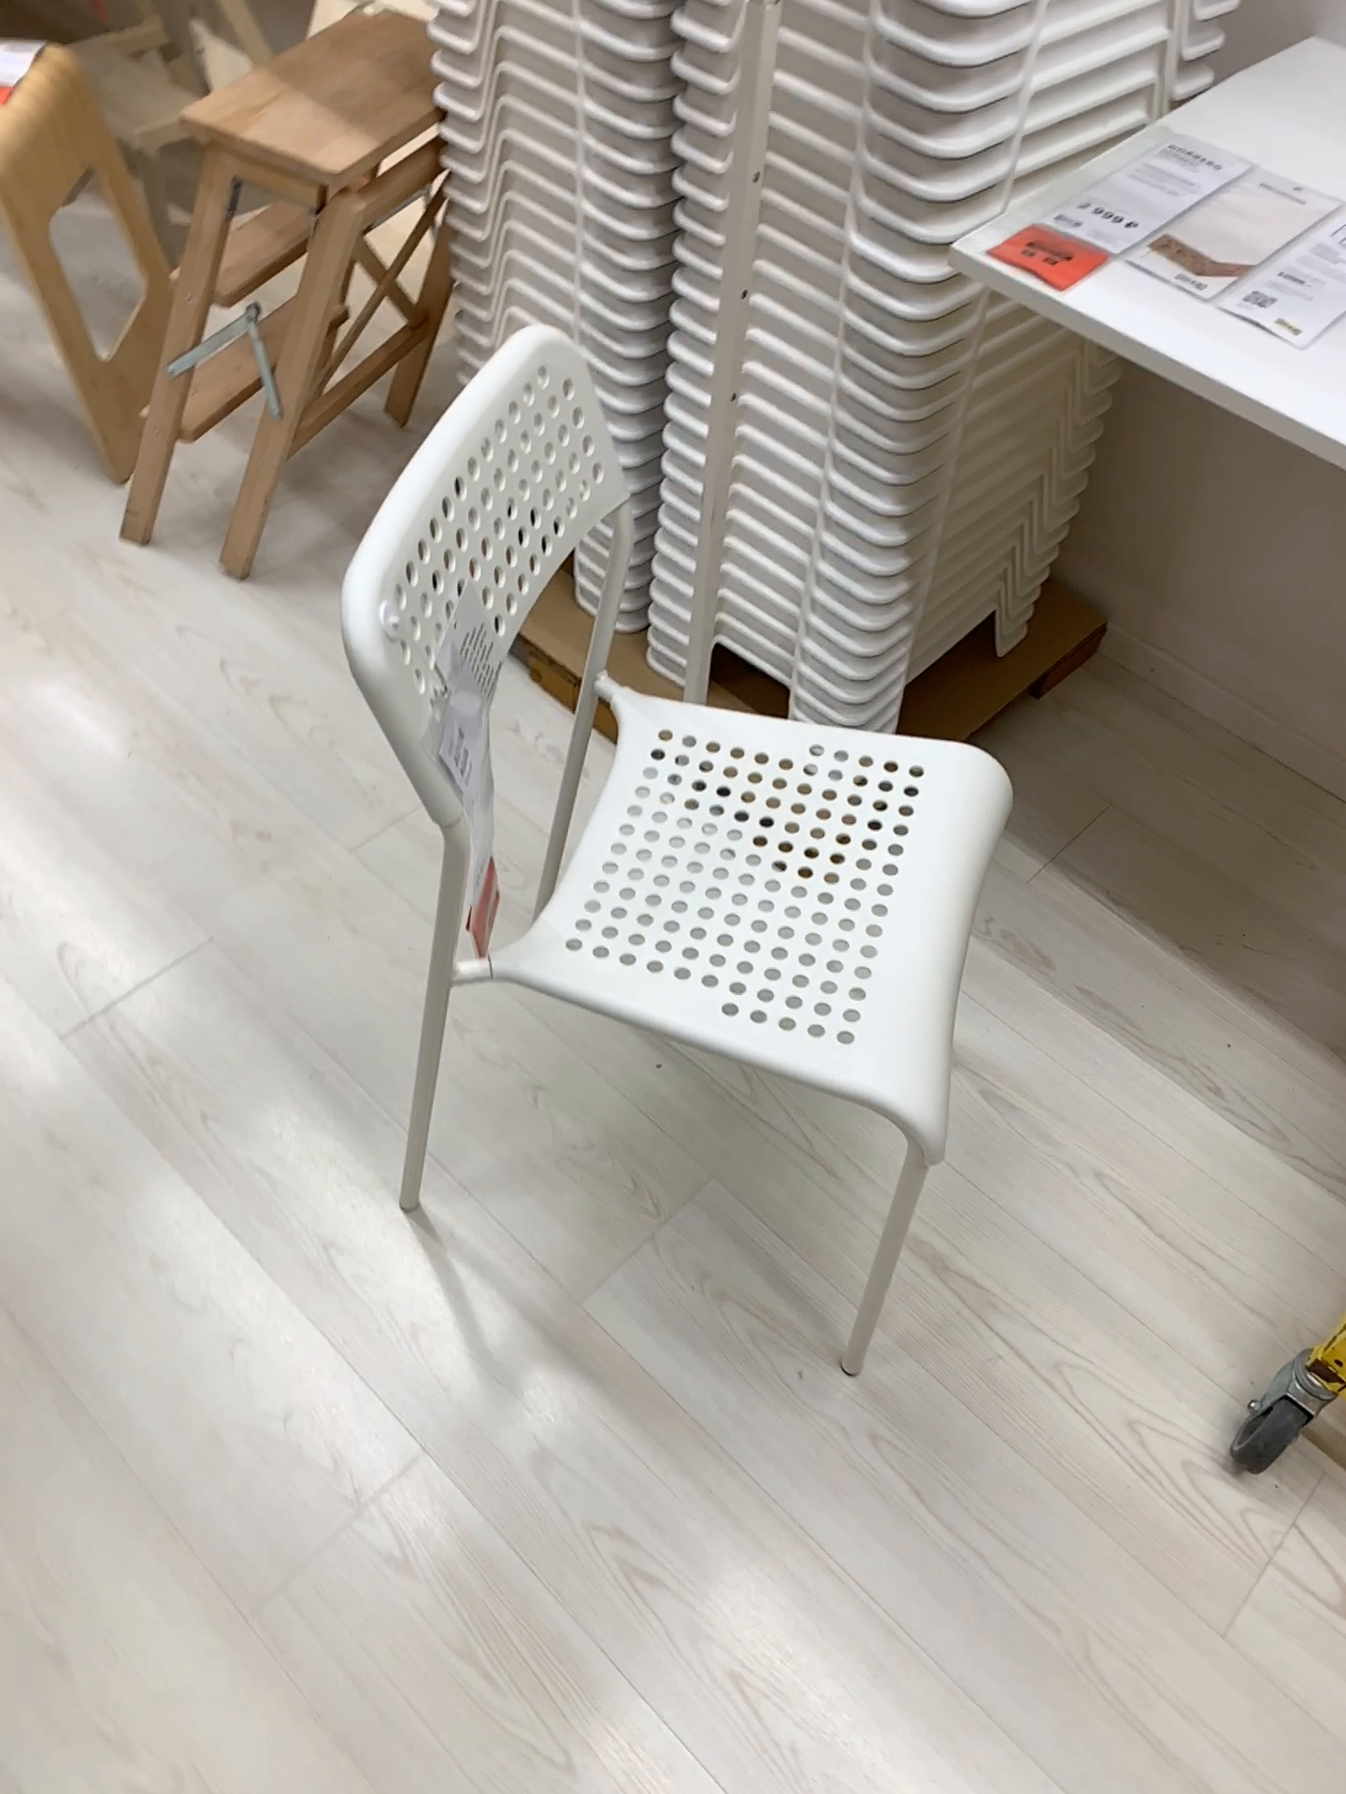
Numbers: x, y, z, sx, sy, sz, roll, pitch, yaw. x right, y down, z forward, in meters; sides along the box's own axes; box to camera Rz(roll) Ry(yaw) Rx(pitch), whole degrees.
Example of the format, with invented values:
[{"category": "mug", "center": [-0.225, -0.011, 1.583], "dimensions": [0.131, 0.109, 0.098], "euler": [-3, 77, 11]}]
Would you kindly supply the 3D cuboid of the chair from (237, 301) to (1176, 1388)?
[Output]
[{"category": "chair", "center": [0.030, 0.006, 1.163], "dimensions": [0.500, 0.746, 0.425], "euler": [16, 52, 8]}]
